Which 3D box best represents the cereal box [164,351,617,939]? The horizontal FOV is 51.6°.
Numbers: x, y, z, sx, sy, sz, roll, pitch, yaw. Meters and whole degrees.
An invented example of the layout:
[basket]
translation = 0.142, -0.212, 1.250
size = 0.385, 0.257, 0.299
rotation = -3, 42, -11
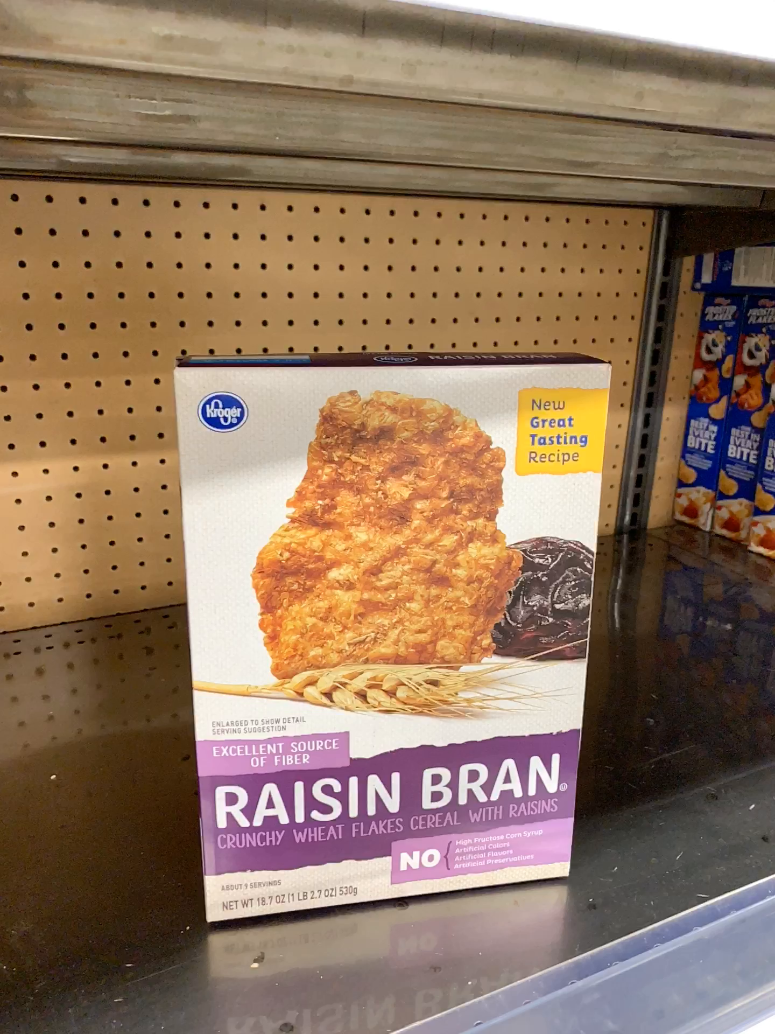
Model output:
[cereal box]
translation = 0.000, 0.059, 0.388
size = 0.190, 0.269, 0.050
rotation = -3, 16, -12
